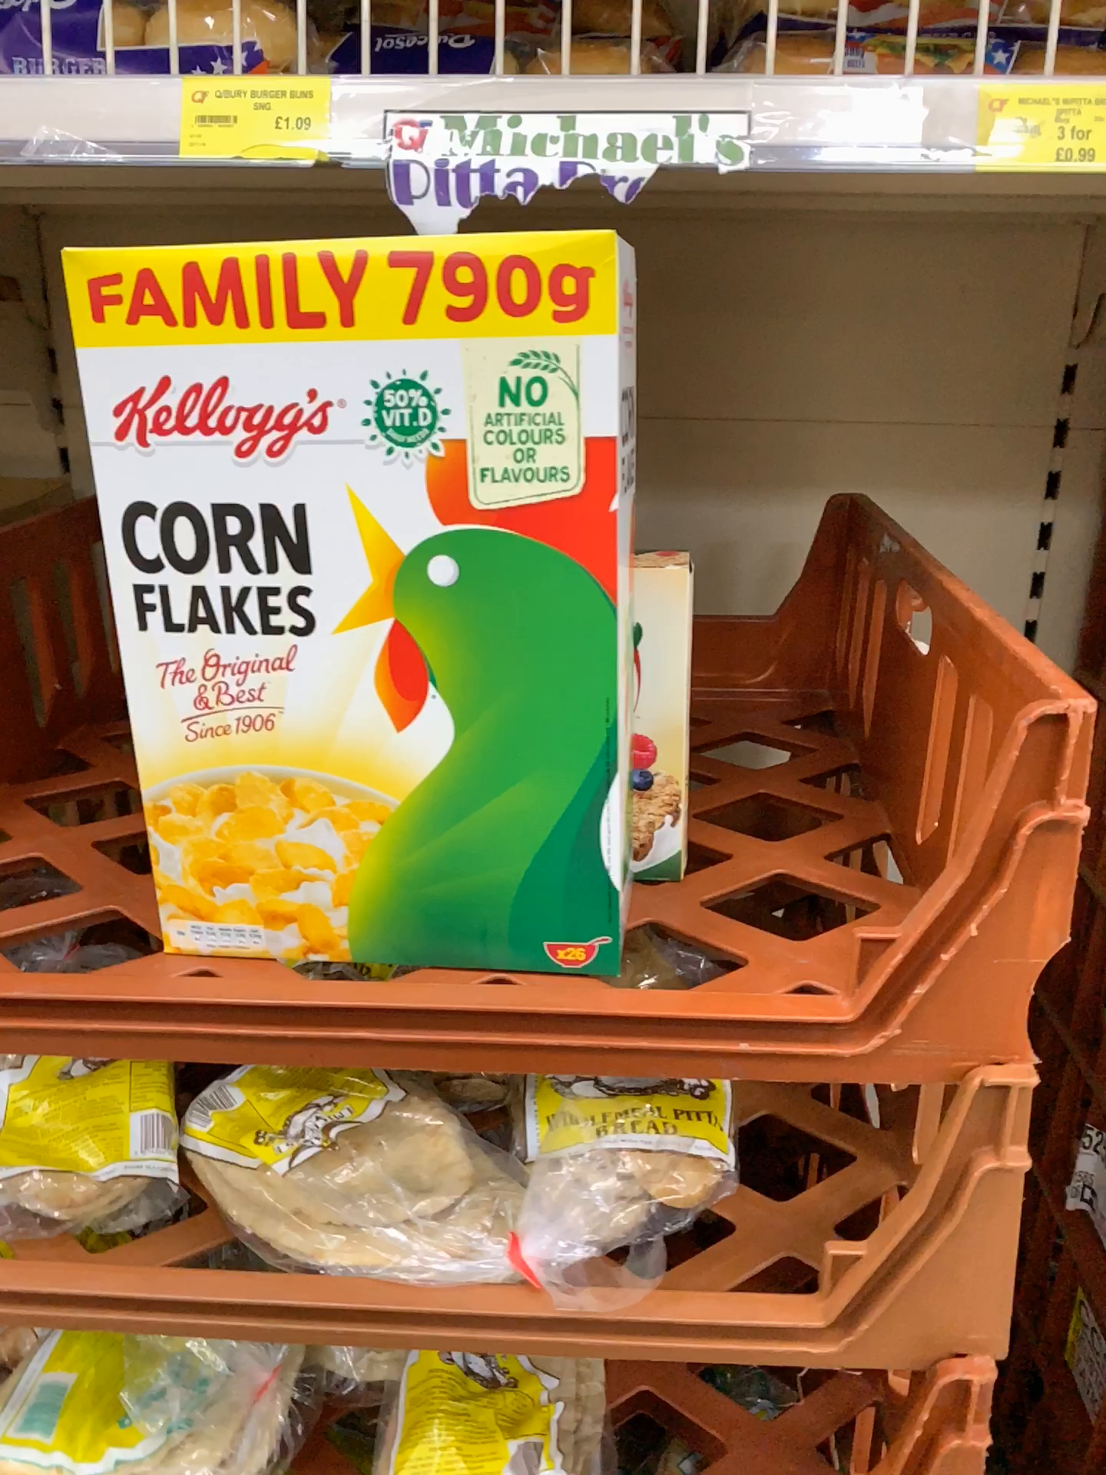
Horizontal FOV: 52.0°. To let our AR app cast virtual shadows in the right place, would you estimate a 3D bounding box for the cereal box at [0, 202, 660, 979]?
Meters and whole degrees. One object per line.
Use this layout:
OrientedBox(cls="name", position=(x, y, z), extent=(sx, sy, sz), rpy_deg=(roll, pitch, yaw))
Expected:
OrientedBox(cls="cereal box", position=(-0.090, -0.064, 0.541), extent=(0.270, 0.337, 0.091), rpy_deg=(2, 20, 6))
